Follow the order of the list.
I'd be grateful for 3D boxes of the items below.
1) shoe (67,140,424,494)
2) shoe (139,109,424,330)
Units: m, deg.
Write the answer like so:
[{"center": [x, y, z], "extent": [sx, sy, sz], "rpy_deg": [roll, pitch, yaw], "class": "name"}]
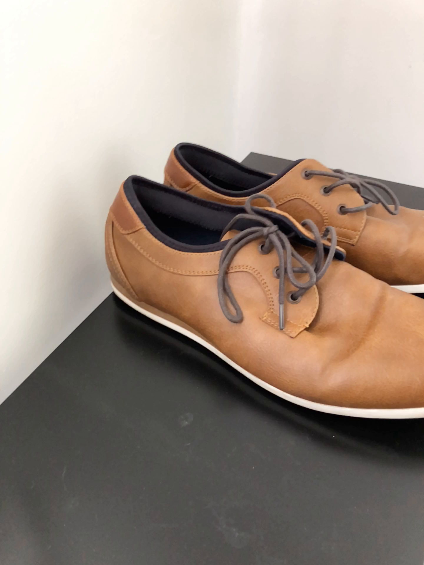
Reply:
[{"center": [0.051, 0.001, 0.308], "extent": [0.271, 0.100, 0.104], "rpy_deg": [21, 43, 23], "class": "shoe"}, {"center": [0.091, -0.064, 0.401], "extent": [0.280, 0.100, 0.104], "rpy_deg": [13, 40, 14], "class": "shoe"}]
